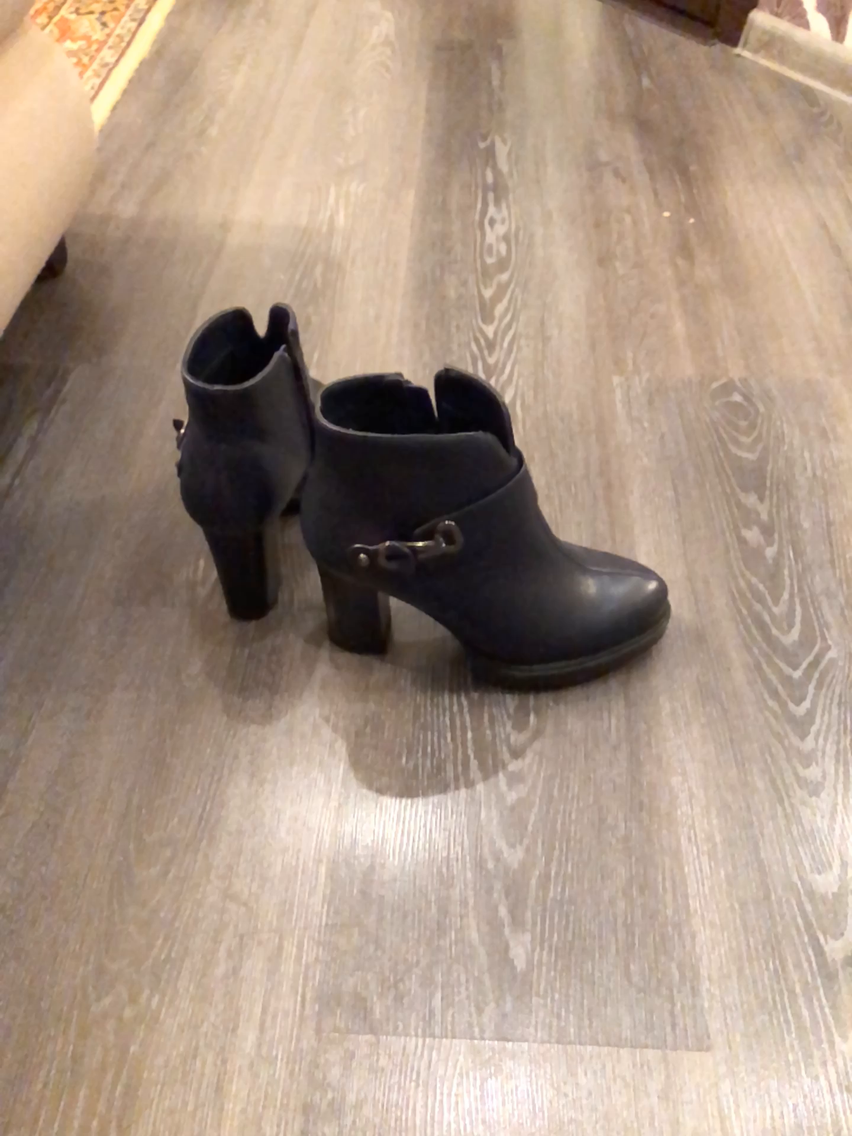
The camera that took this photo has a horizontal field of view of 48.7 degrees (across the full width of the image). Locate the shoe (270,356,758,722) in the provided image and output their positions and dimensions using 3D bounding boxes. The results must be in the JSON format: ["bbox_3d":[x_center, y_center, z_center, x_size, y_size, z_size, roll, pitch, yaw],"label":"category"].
[{"bbox_3d":[0.045,-0.010,0.548,0.230,0.199,0.091,2,47,4],"label":"shoe"}]

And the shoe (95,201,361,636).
[{"bbox_3d":[-0.113,-0.104,0.629,0.090,0.179,0.231,4,47,5],"label":"shoe"}]
